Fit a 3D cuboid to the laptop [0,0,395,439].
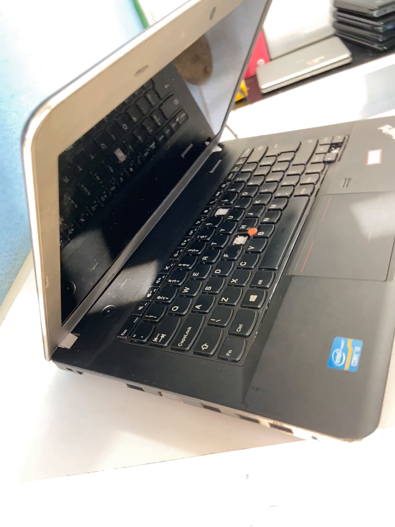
[{"bbox_3d":[0.018,-0.097,0.305,0.230,0.165,0.332,1,44,34],"label":"laptop"}]
